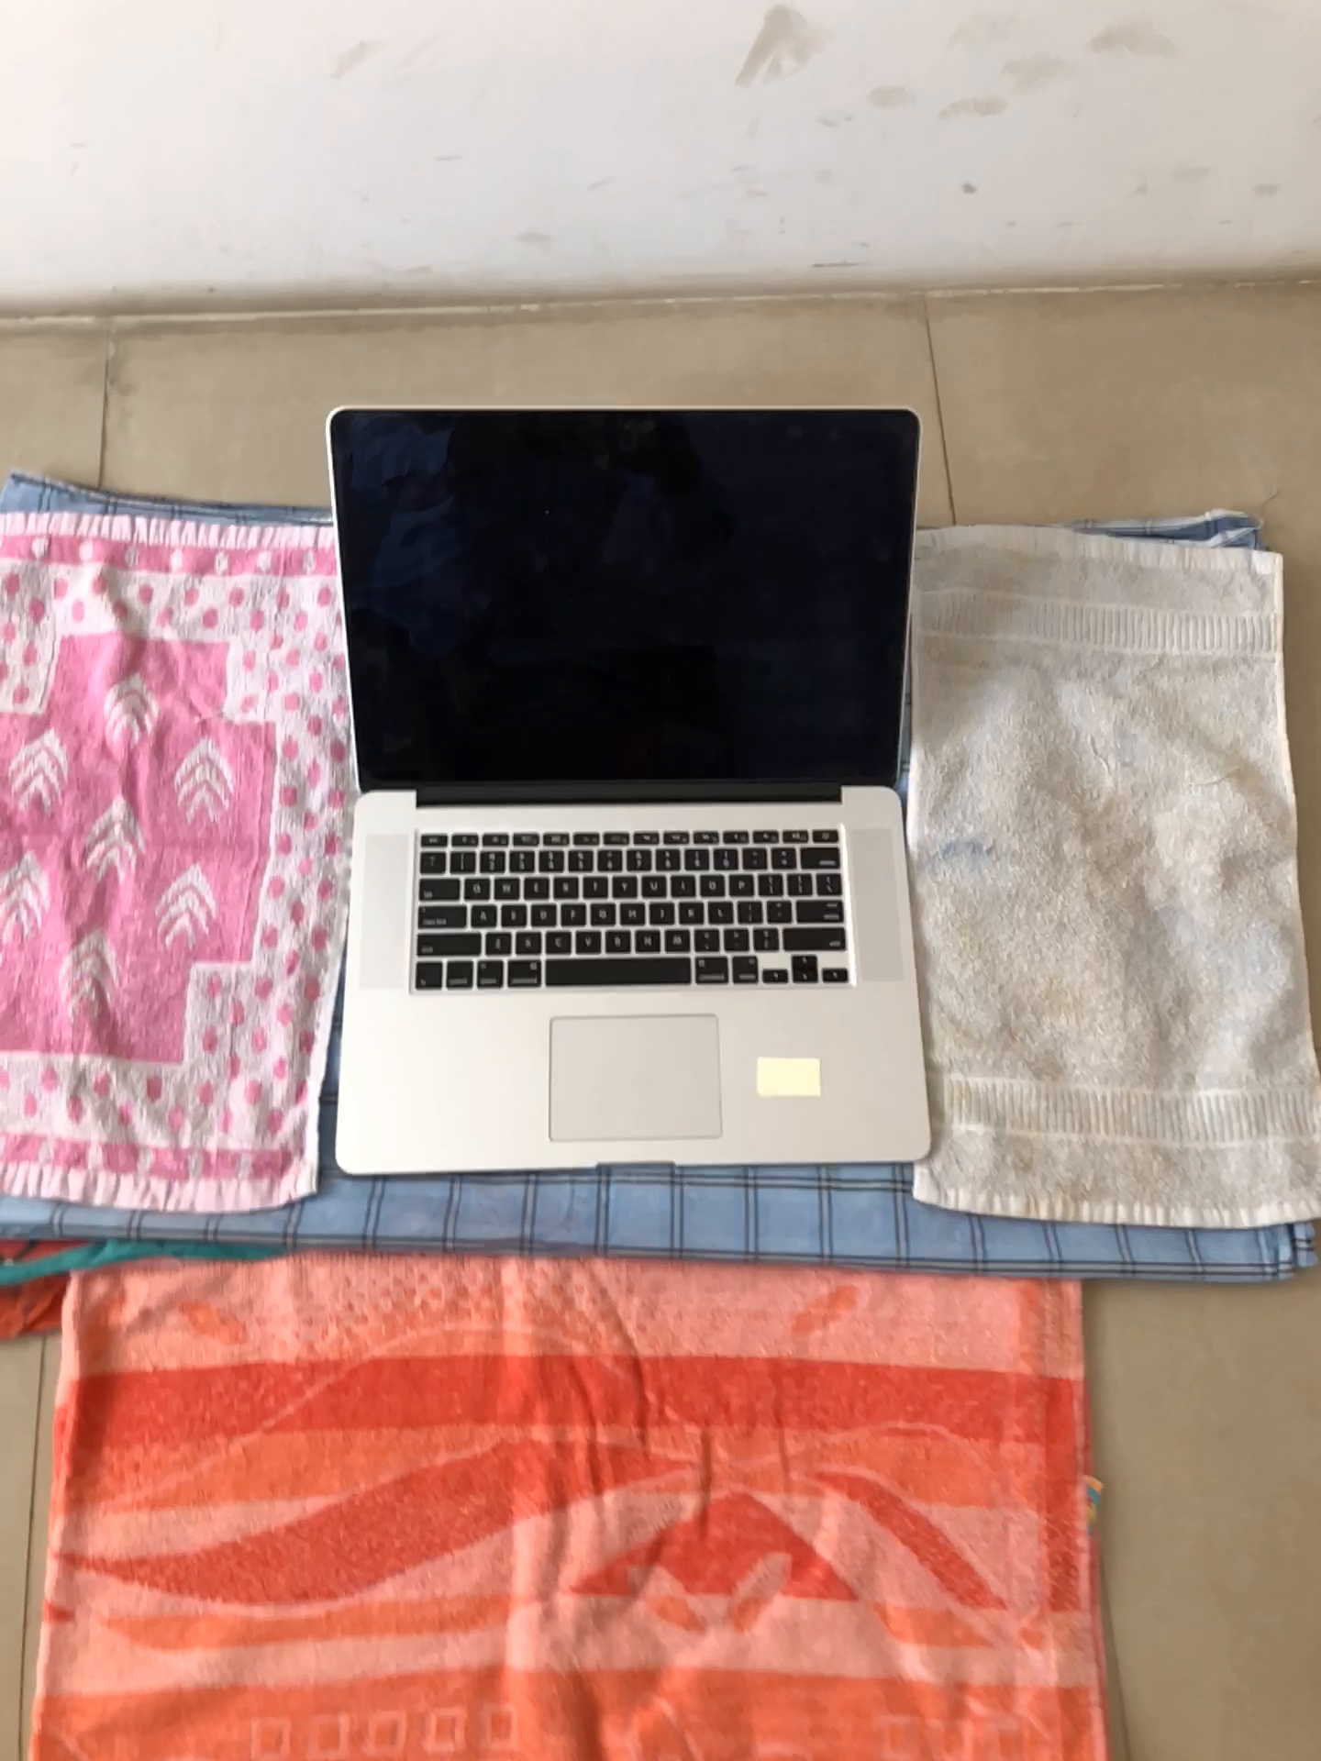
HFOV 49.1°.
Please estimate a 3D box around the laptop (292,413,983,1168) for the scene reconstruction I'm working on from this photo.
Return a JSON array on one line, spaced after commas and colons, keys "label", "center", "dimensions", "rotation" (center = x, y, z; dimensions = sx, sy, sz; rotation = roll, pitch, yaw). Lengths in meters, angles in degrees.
[{"label": "laptop", "center": [-0.016, -0.052, 0.853], "dimensions": [0.343, 0.144, 0.413], "rotation": [-1, 71, 0]}]
